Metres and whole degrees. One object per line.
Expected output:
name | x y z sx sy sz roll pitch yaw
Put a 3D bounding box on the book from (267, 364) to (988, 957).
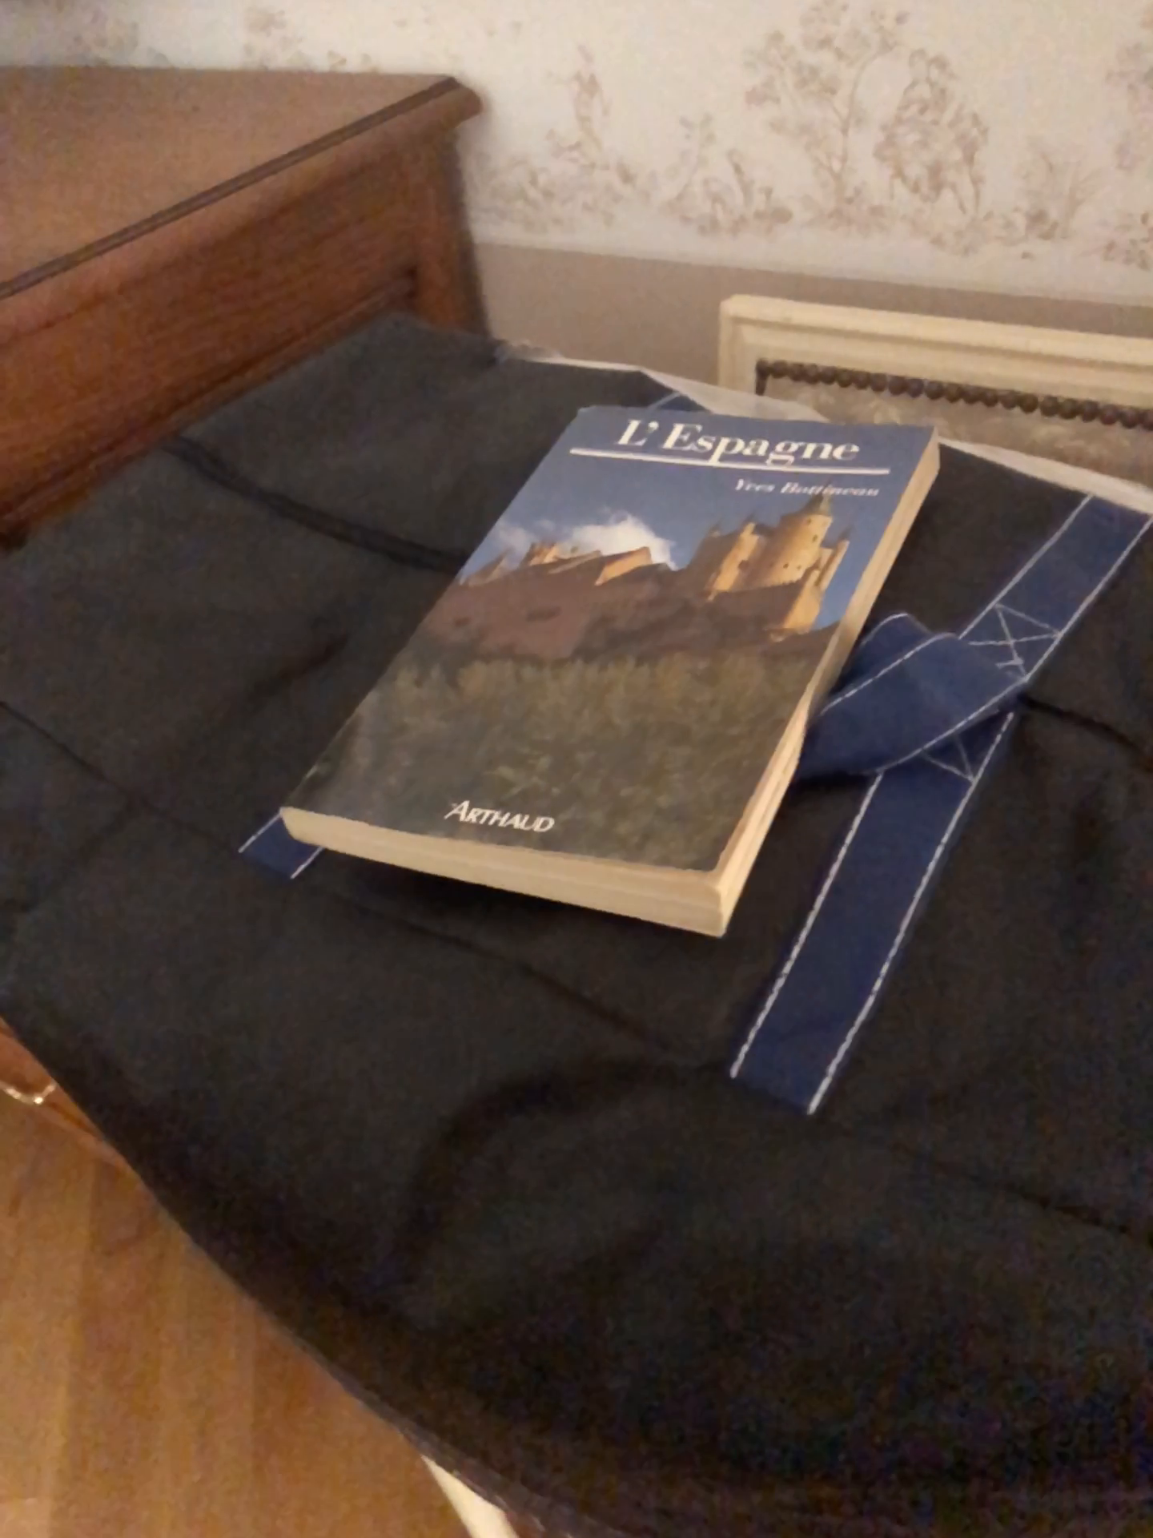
book | 0.031 -0.060 0.445 0.170 0.030 0.252 8 50 27
